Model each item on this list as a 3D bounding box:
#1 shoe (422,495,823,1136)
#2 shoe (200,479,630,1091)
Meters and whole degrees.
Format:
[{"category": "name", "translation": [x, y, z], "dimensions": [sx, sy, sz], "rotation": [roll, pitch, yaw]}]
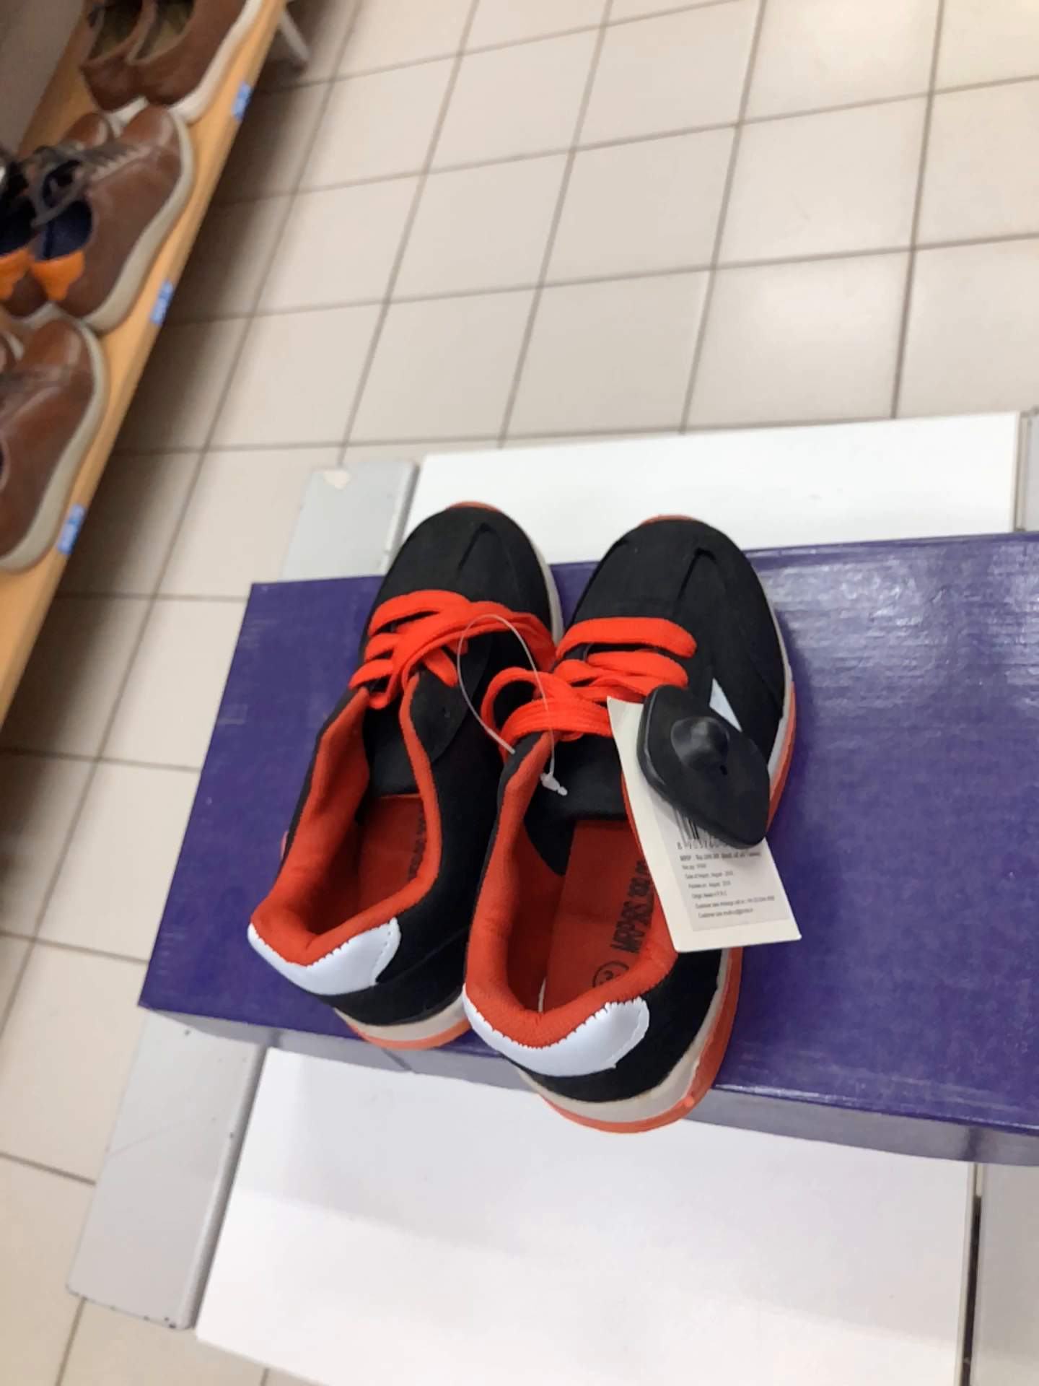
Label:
[{"category": "shoe", "translation": [0.042, 0.040, 0.365], "dimensions": [0.080, 0.100, 0.170], "rotation": [0, 67, 24]}, {"category": "shoe", "translation": [-0.025, 0.033, 0.401], "dimensions": [0.080, 0.100, 0.180], "rotation": [0, 67, 24]}]
